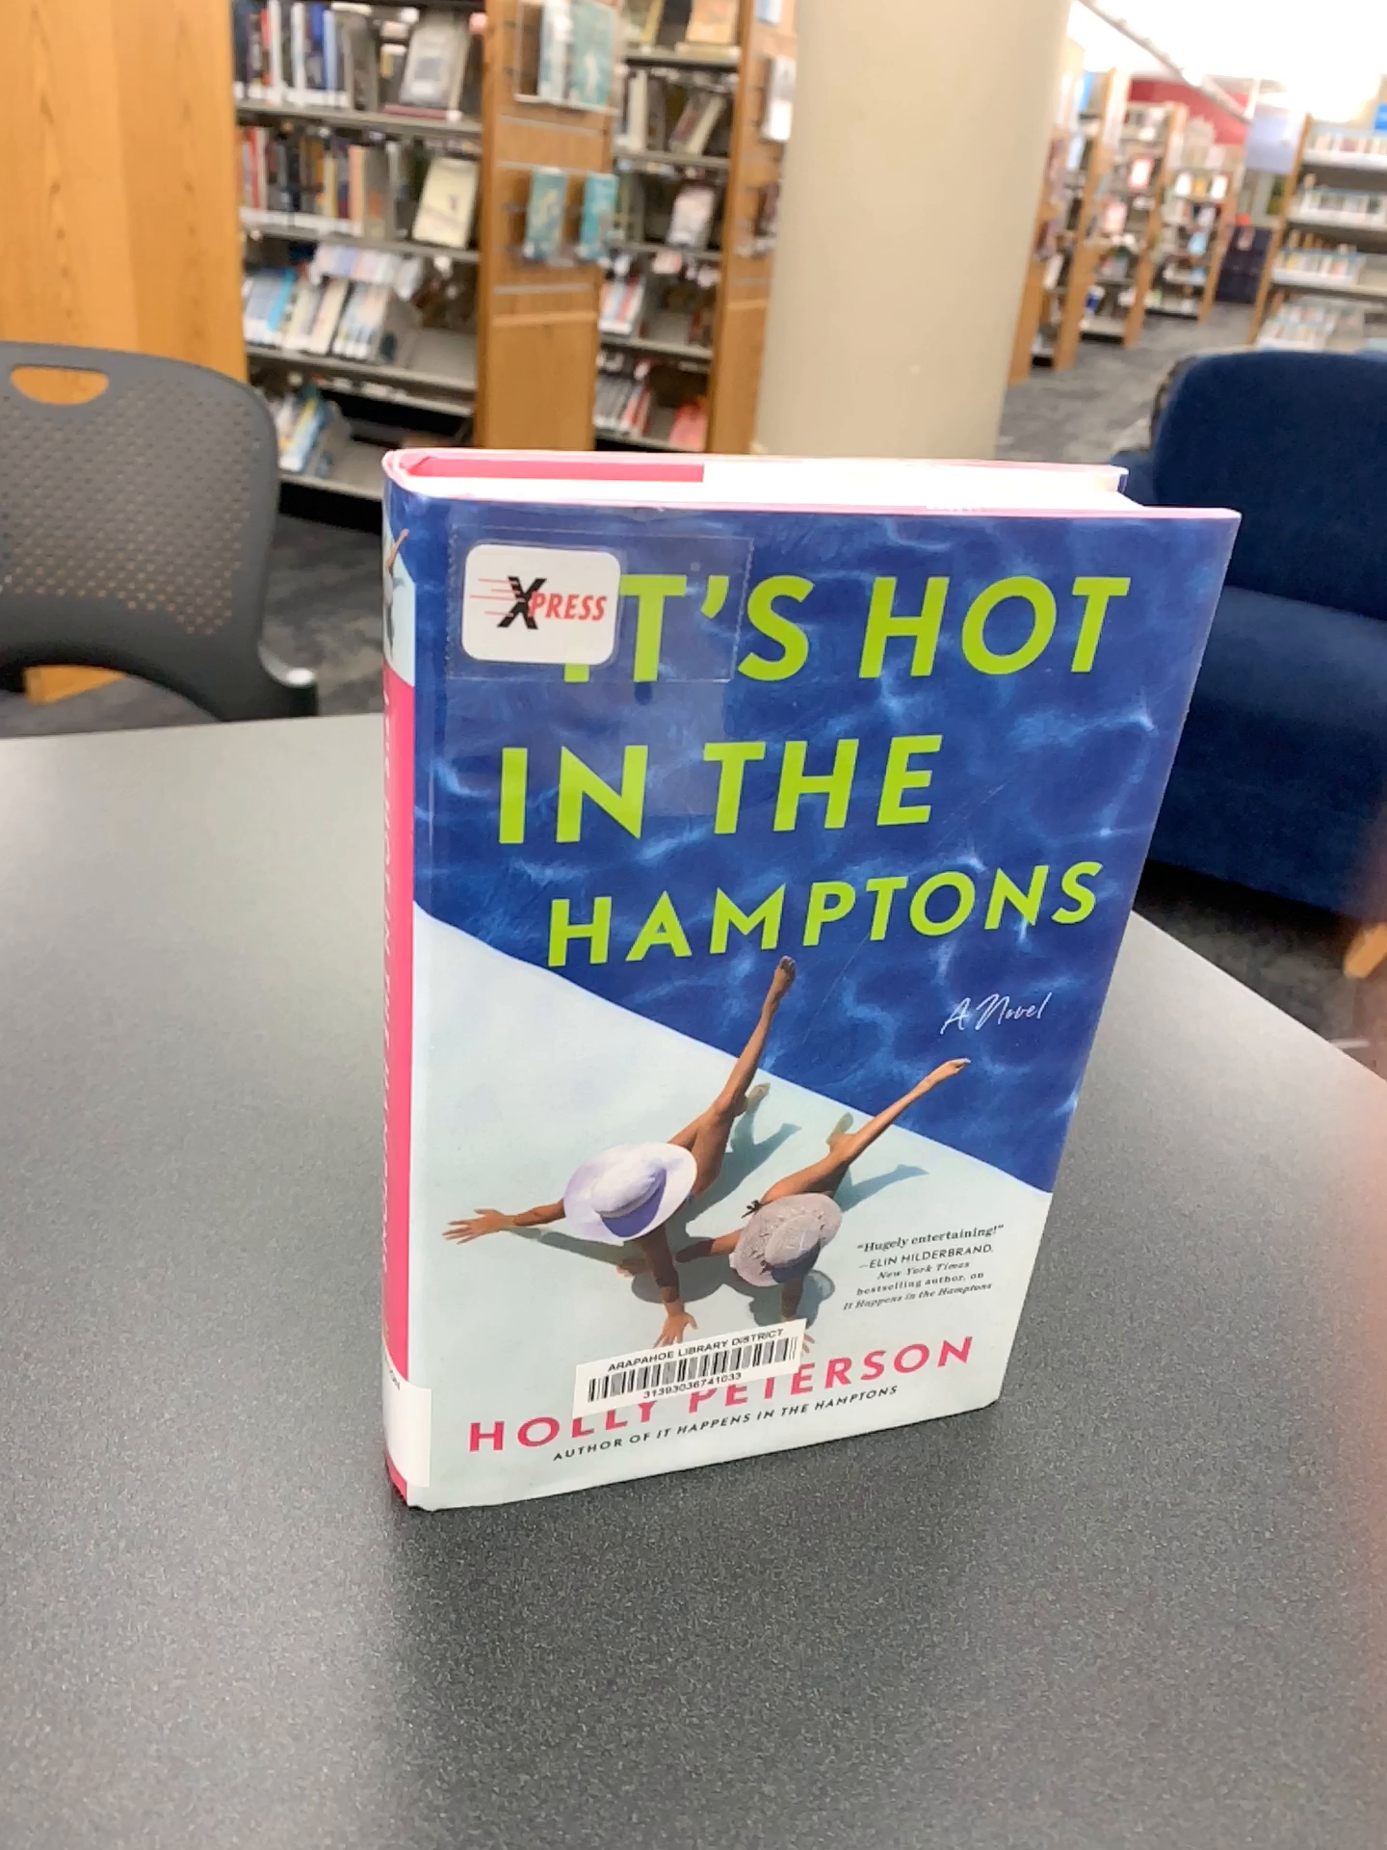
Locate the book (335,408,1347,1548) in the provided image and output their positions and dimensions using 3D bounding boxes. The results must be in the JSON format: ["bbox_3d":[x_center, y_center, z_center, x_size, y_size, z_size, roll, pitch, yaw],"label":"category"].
[{"bbox_3d":[0.017,0.016,0.298,0.170,0.219,0.050,-4,30,-20],"label":"book"}]
